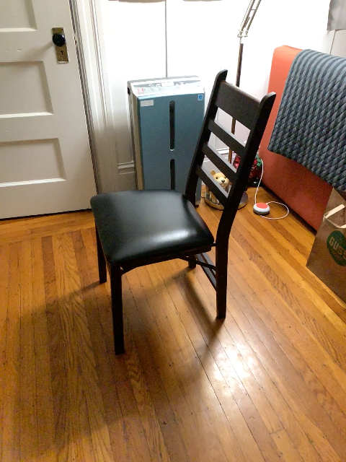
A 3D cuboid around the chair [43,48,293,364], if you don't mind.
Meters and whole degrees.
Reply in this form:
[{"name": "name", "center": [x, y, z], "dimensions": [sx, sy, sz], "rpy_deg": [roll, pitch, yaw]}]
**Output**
[{"name": "chair", "center": [-0.053, -0.096, 1.213], "dimensions": [0.550, 0.865, 0.493], "rpy_deg": [-12, 37, -17]}]
